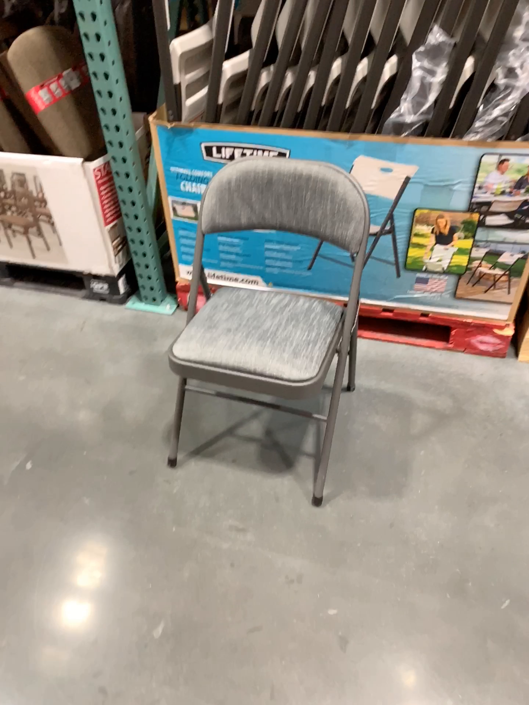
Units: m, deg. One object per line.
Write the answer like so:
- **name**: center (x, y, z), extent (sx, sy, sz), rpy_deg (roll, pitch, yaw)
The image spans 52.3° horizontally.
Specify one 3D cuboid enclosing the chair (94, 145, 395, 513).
- **chair**: center (0.000, -0.064, 1.357), extent (0.494, 0.687, 0.504), rpy_deg (11, 43, 14)
